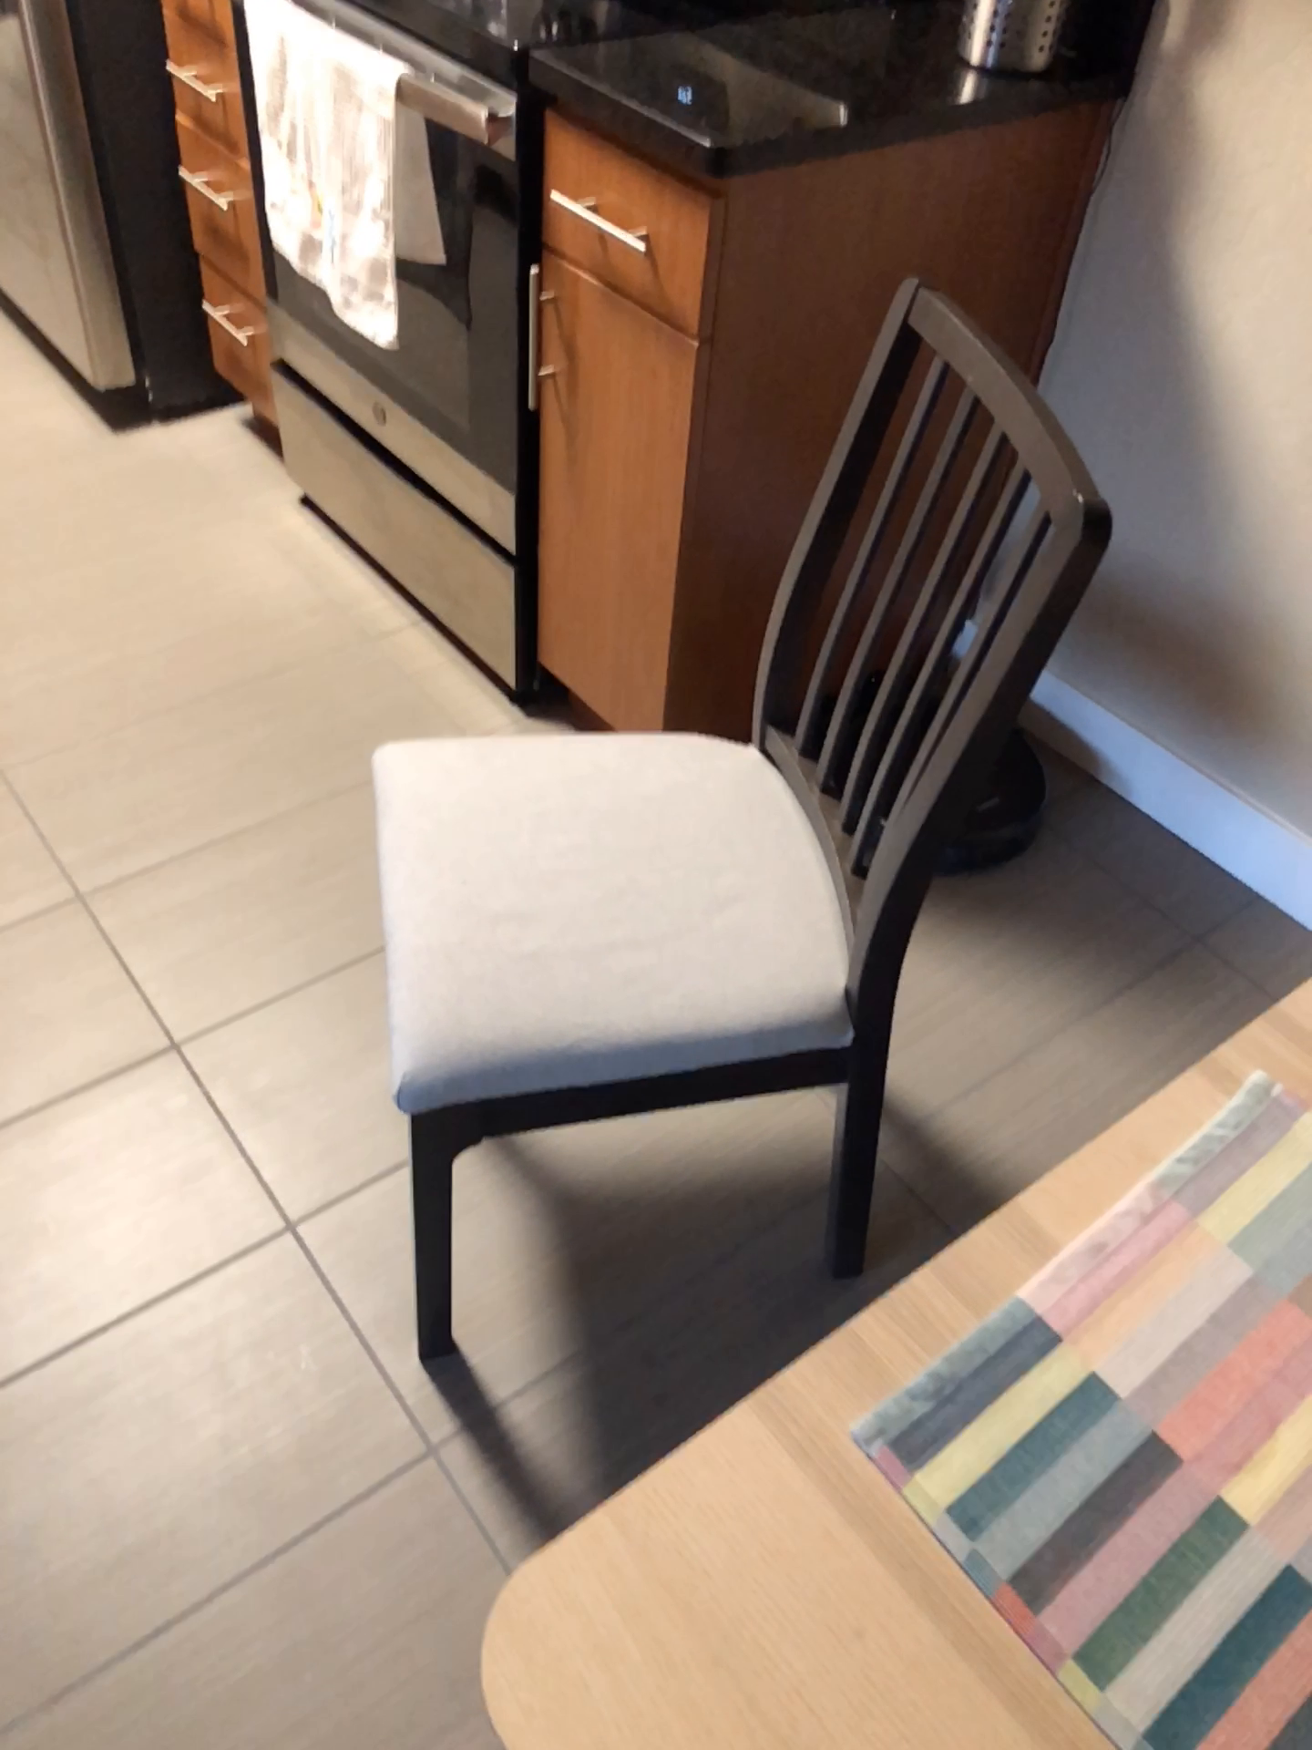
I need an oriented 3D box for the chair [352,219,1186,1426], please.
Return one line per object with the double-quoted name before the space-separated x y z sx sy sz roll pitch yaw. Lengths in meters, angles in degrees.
"chair" 0.007 0.034 1.423 0.510 1.125 0.482 -1 44 -8
